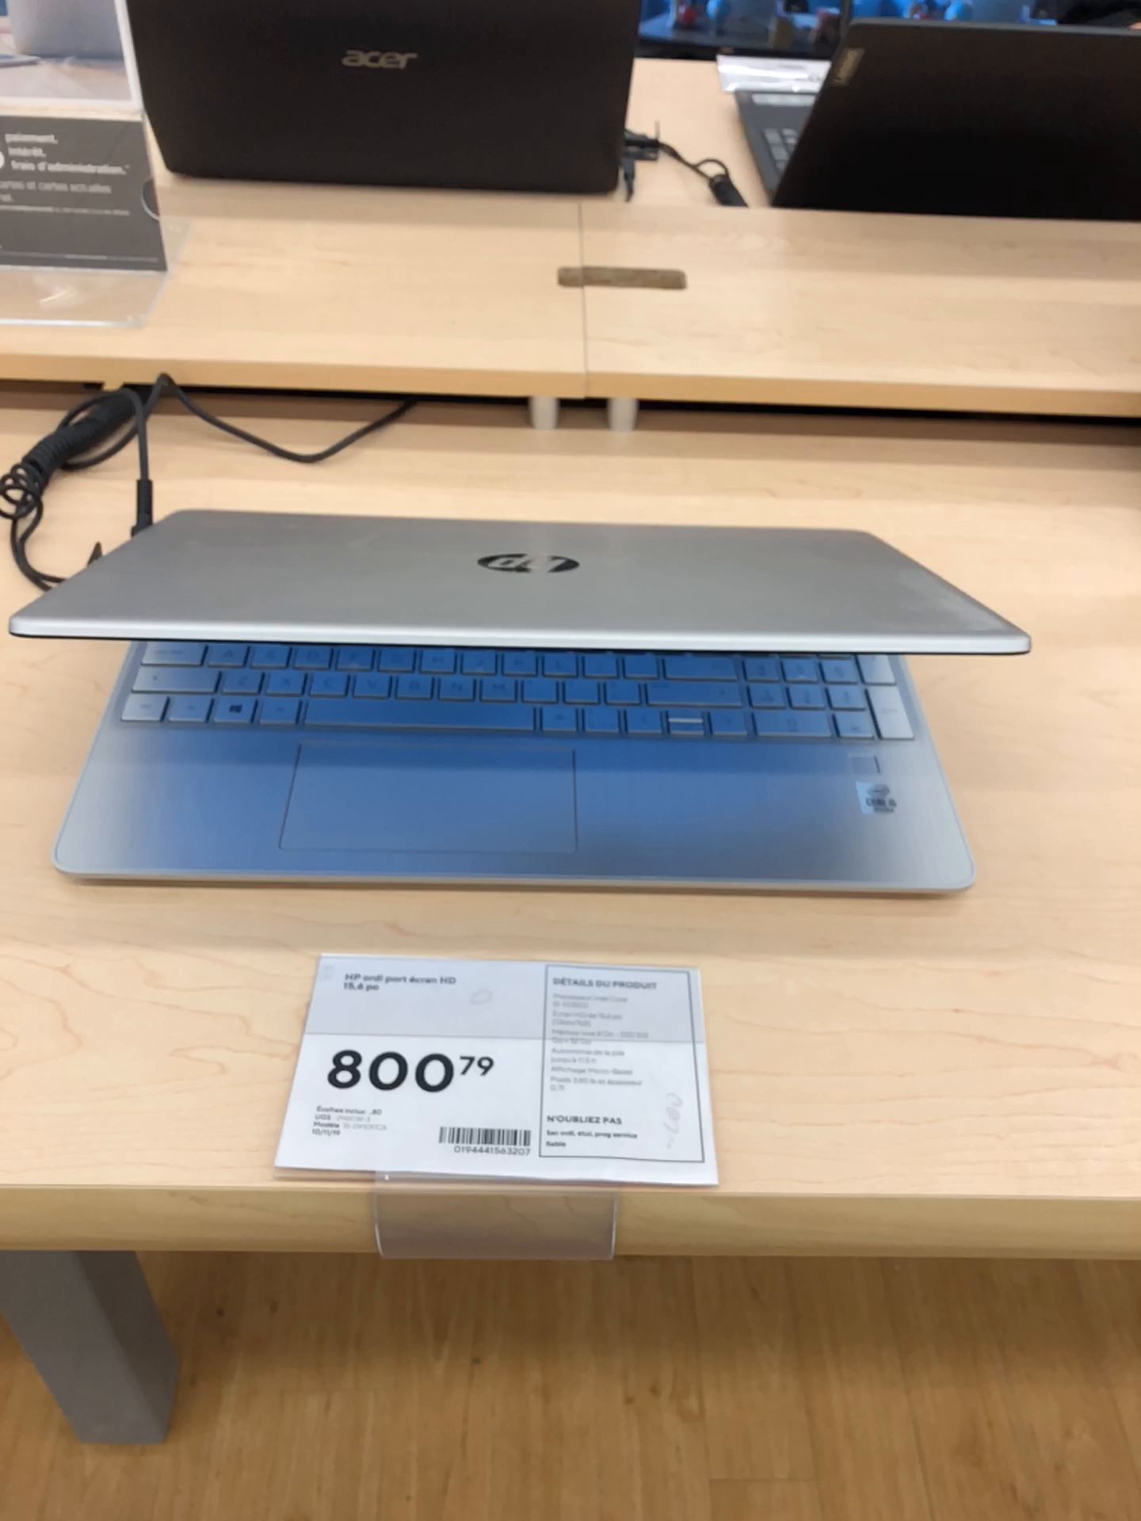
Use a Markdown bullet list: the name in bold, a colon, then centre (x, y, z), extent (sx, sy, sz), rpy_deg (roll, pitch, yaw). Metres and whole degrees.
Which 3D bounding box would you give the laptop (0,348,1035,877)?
- **laptop**: centre (-0.017, -0.069, 0.524), extent (0.340, 0.086, 0.225), rpy_deg (1, 45, -3)
